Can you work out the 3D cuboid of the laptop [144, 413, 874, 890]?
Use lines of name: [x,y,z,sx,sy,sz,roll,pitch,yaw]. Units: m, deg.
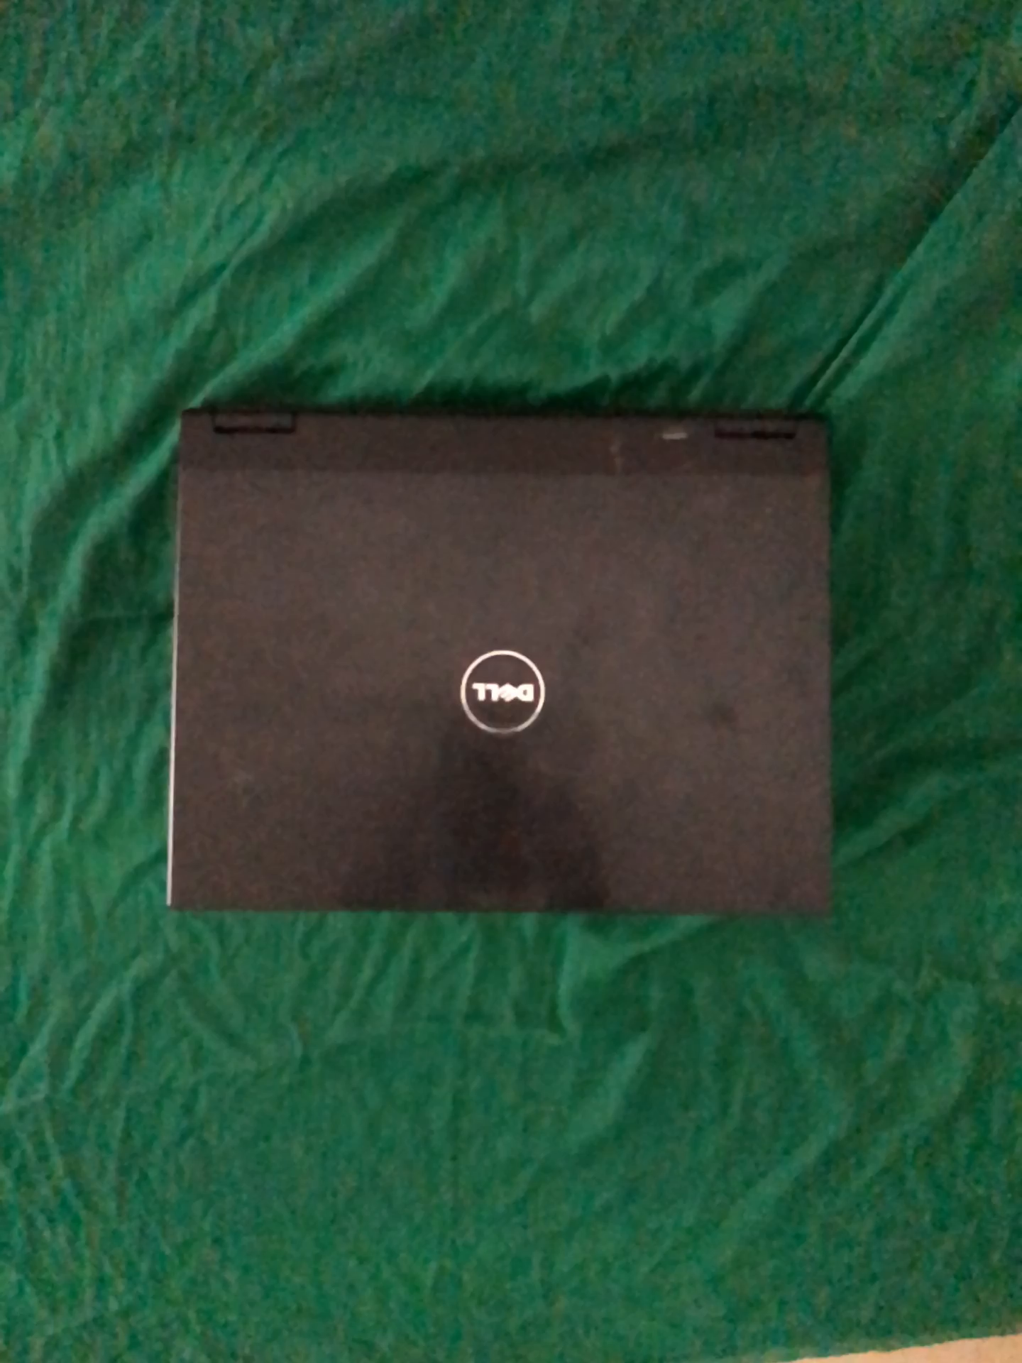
laptop: [-0.003,-0.013,0.548,0.306,0.066,0.226,1,111,0]
